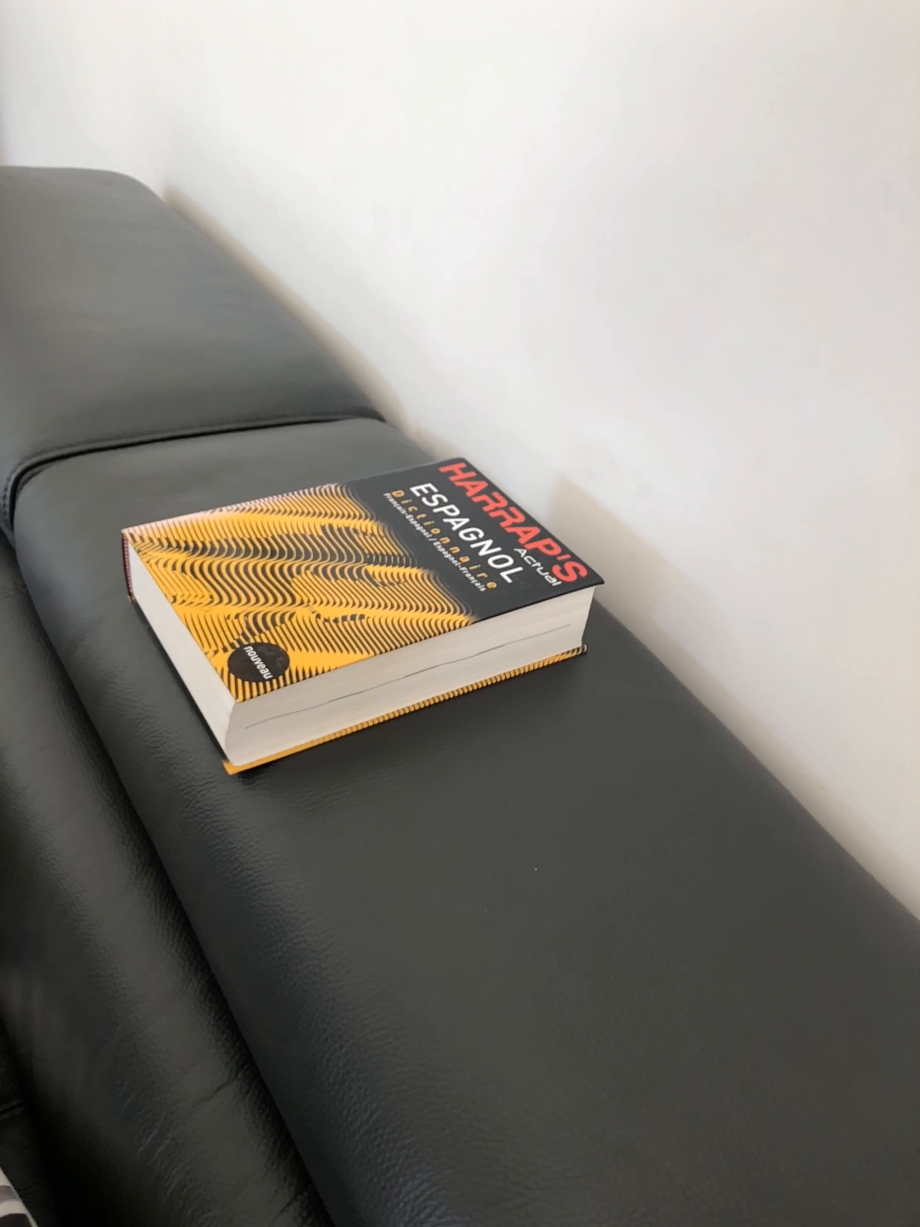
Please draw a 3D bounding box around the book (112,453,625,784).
[{"bbox_3d":[-0.058,-0.014,0.642,0.261,0.050,0.185,-17,43,-28],"label":"book"}]
